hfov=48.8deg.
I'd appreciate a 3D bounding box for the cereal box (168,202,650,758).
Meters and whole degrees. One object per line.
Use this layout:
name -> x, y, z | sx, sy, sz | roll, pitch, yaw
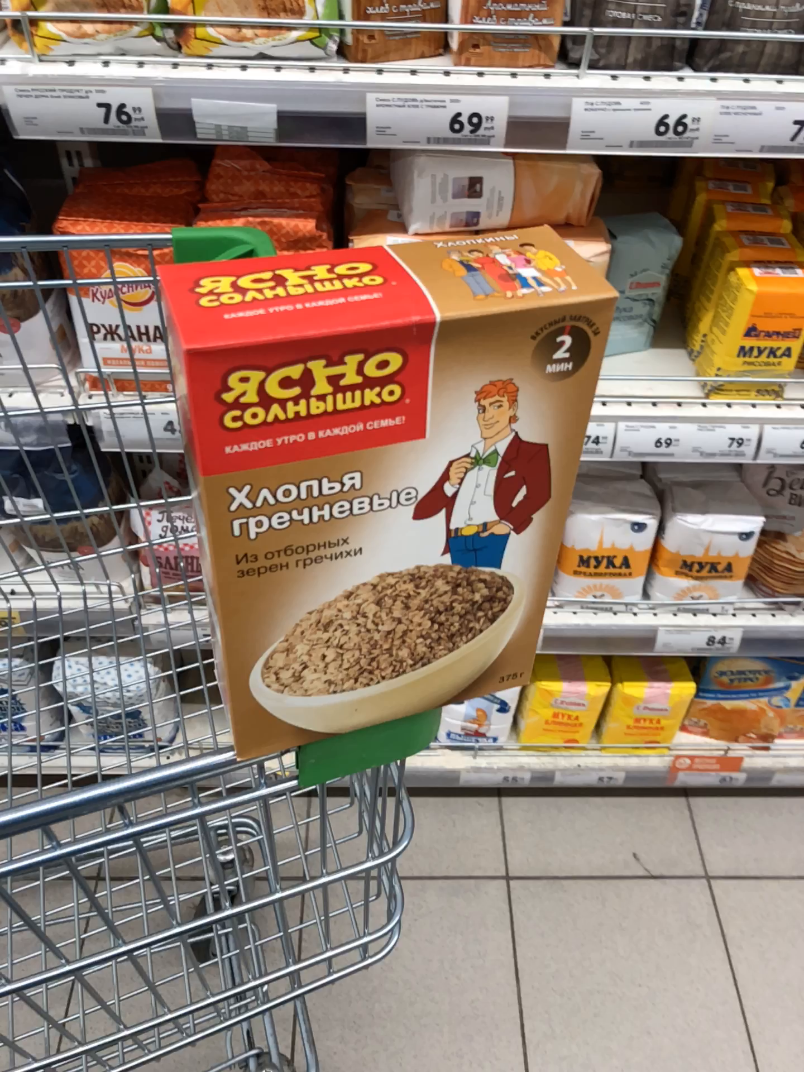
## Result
cereal box -> -0.003, -0.012, 0.326 | 0.130, 0.189, 0.060 | -11, 45, -15
